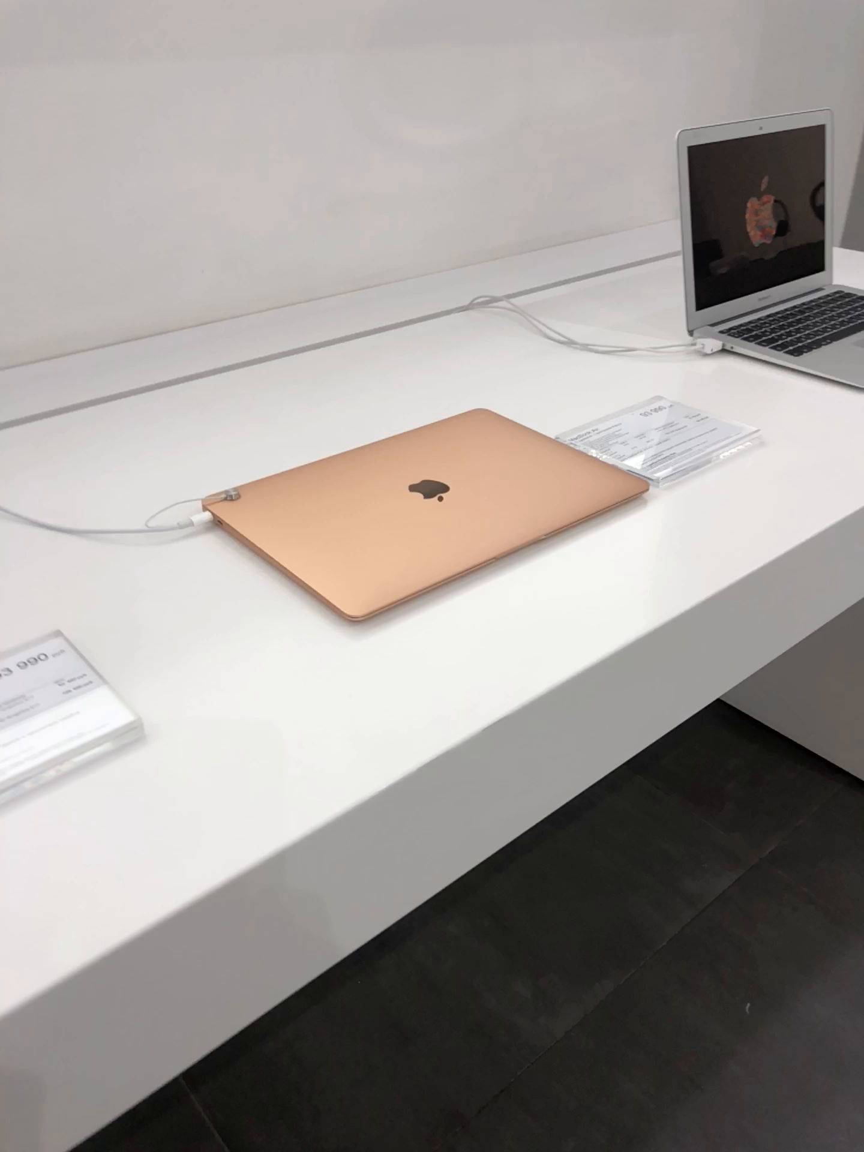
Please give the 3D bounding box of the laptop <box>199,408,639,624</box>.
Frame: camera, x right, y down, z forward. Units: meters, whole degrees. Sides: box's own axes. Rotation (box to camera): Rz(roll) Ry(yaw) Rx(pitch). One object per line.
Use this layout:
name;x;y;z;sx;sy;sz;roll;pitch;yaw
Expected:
laptop;-0.007;-0.065;0.762;0.294;0.005;0.202;-25;40;-33

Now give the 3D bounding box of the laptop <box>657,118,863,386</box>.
laptop;0.480;-0.388;1.082;0.346;0.213;0.258;-25;39;-36
